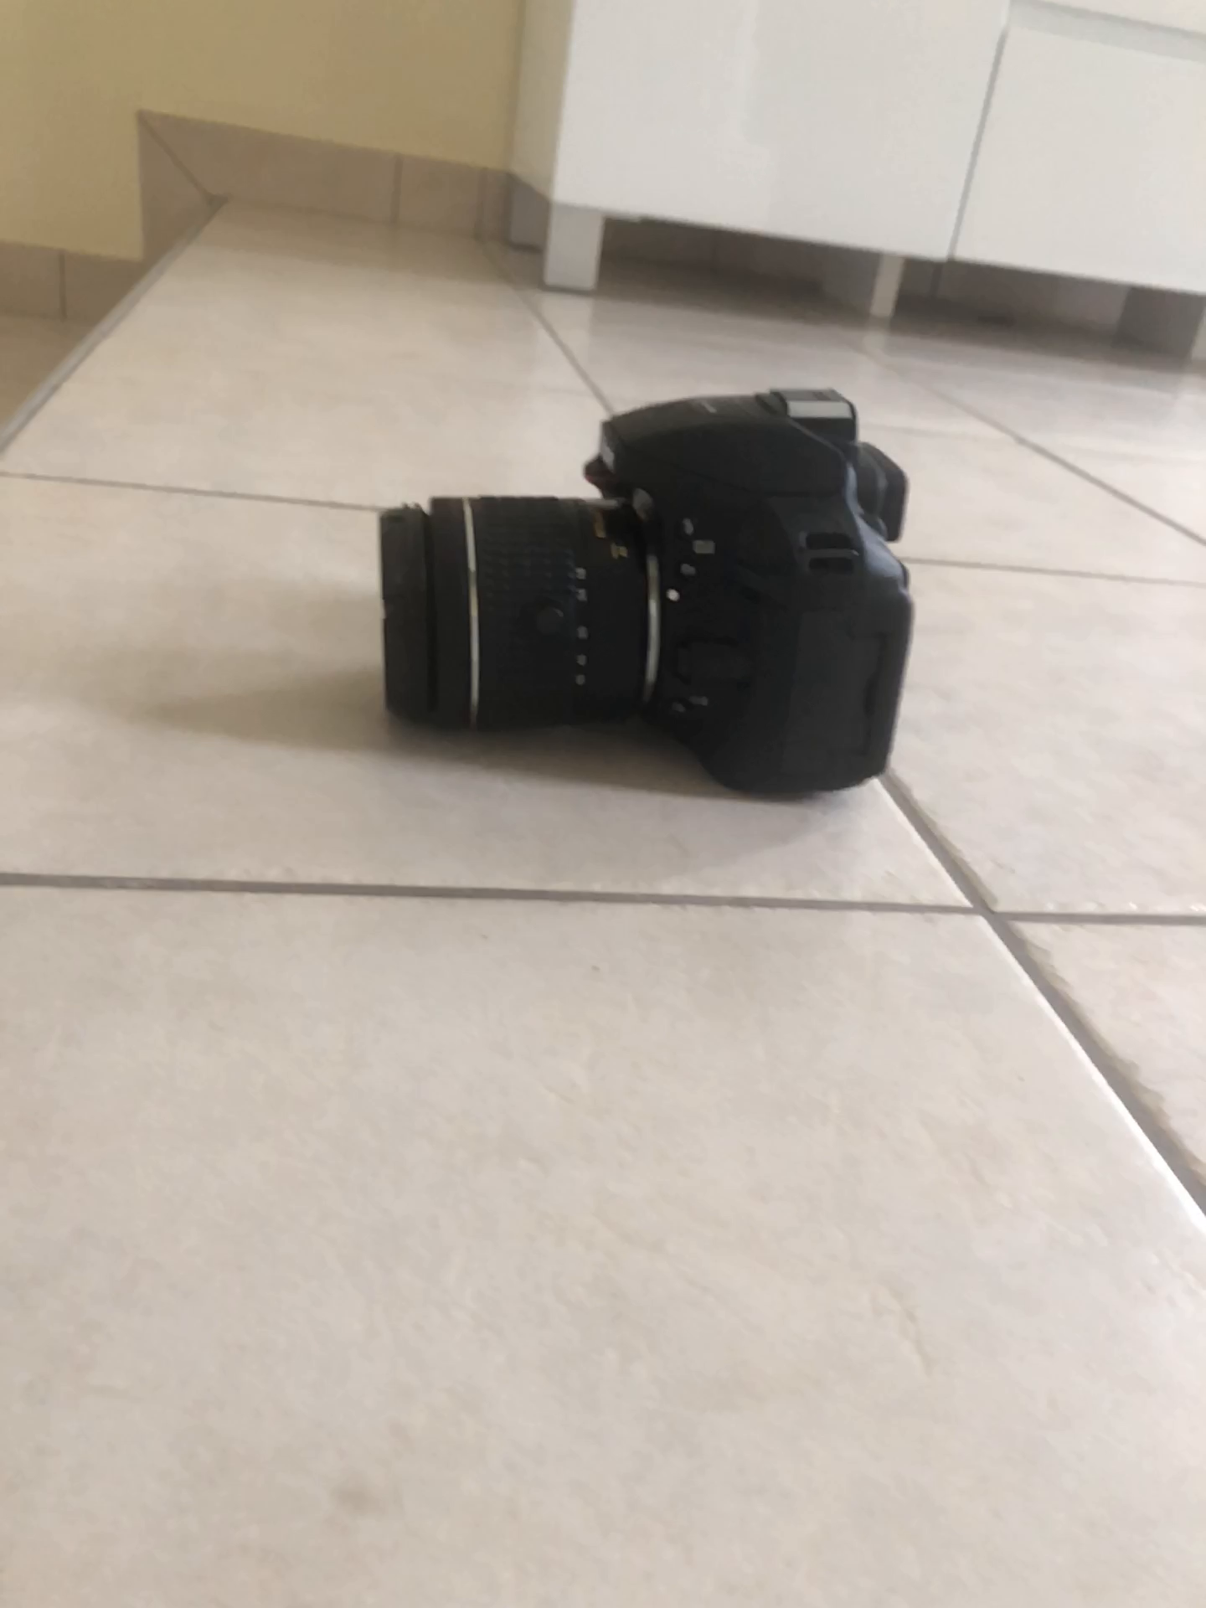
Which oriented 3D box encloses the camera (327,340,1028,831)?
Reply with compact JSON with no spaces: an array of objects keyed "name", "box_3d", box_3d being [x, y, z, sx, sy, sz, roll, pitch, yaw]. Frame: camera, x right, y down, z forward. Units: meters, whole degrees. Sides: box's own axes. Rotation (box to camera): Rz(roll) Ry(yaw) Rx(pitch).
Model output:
[{"name":"camera","box_3d":[0.006,-0.067,0.379,0.160,0.089,0.141,1,28,-10]}]
